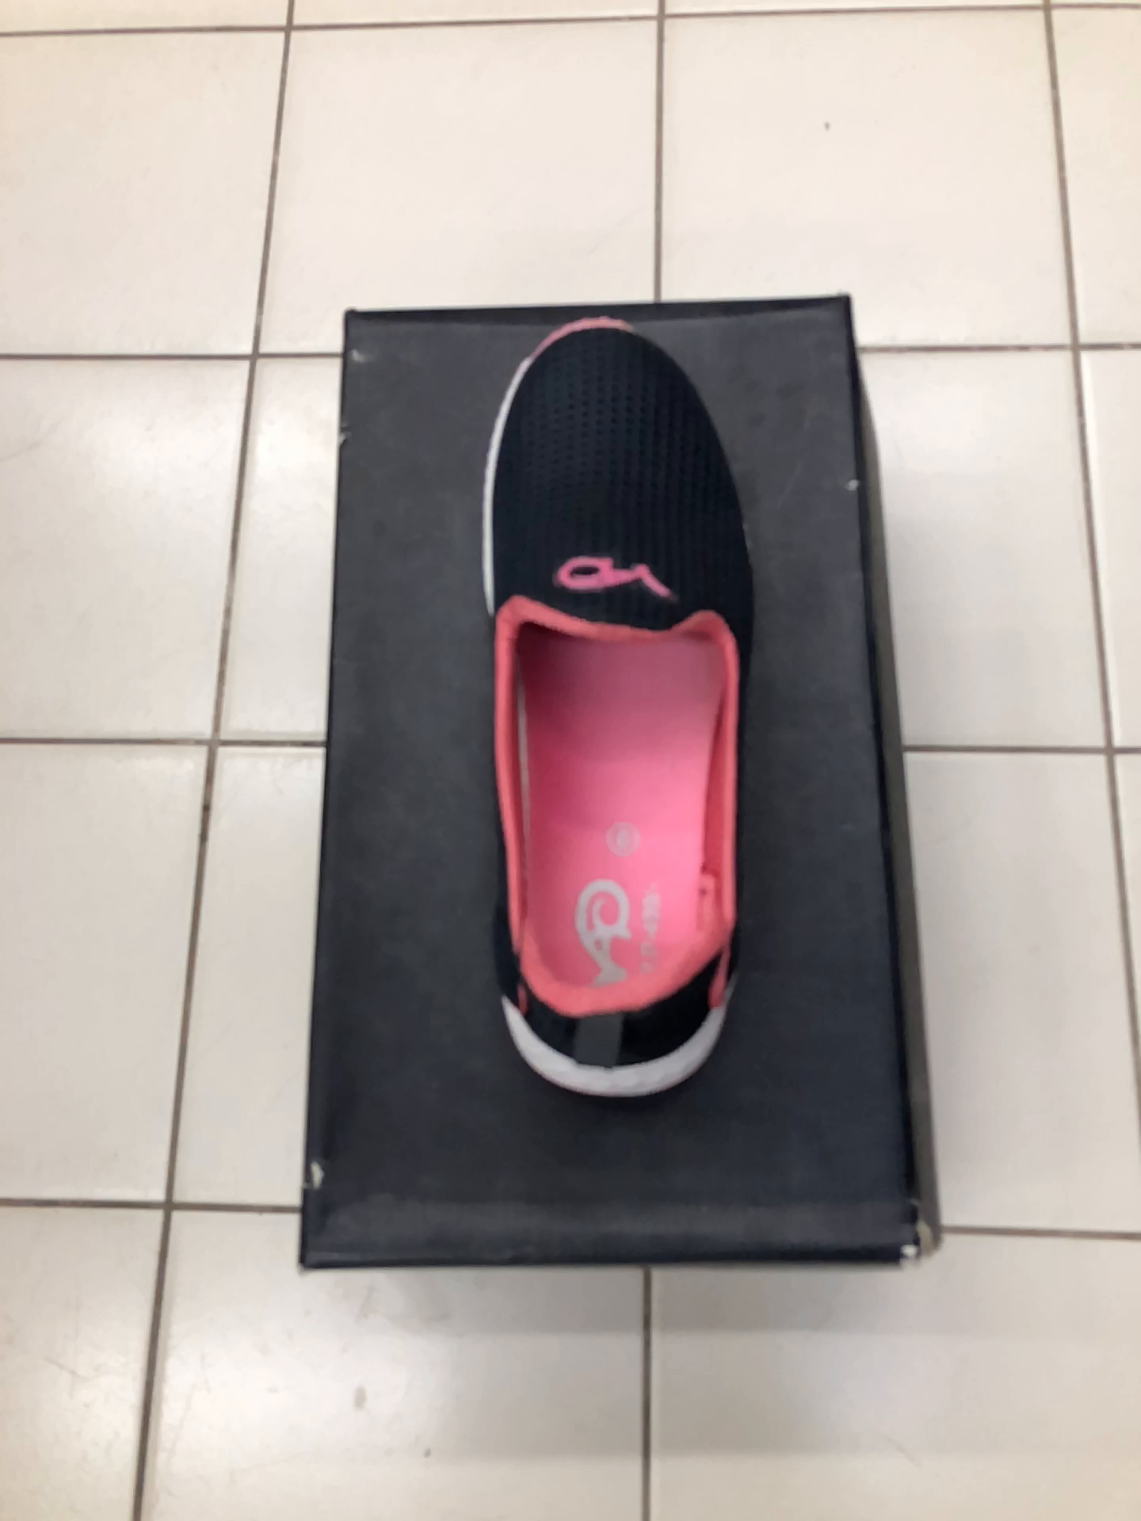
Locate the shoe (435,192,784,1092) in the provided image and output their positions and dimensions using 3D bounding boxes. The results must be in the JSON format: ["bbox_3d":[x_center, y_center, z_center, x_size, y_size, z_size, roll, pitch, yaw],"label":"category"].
[{"bbox_3d":[0.014,-0.033,0.403,0.090,0.100,0.270,0,75,3],"label":"shoe"}]
